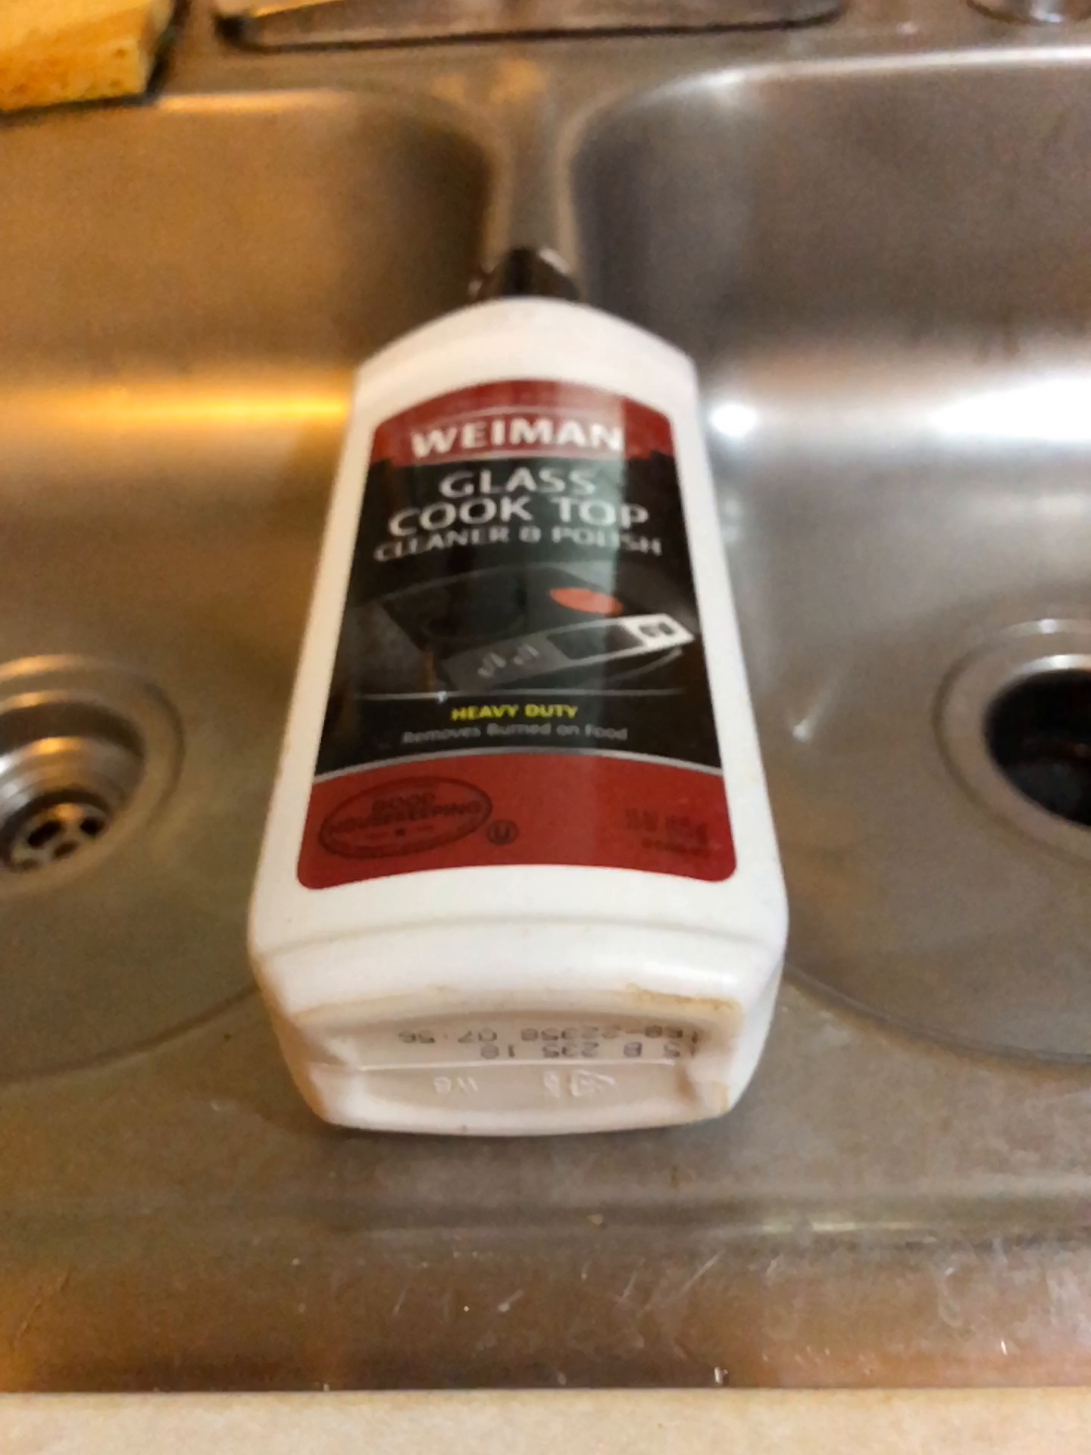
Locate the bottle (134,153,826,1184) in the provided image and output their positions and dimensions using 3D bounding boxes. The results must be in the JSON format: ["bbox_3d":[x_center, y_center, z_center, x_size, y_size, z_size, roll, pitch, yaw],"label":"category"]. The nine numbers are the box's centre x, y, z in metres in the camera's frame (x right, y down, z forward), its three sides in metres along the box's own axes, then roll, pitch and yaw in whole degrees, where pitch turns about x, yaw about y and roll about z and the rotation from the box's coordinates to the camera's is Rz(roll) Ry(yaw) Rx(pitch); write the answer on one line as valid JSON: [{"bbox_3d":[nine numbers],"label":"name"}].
[{"bbox_3d":[-0.008,-0.039,0.245,0.080,0.050,0.240,-3,45,2],"label":"bottle"}]
